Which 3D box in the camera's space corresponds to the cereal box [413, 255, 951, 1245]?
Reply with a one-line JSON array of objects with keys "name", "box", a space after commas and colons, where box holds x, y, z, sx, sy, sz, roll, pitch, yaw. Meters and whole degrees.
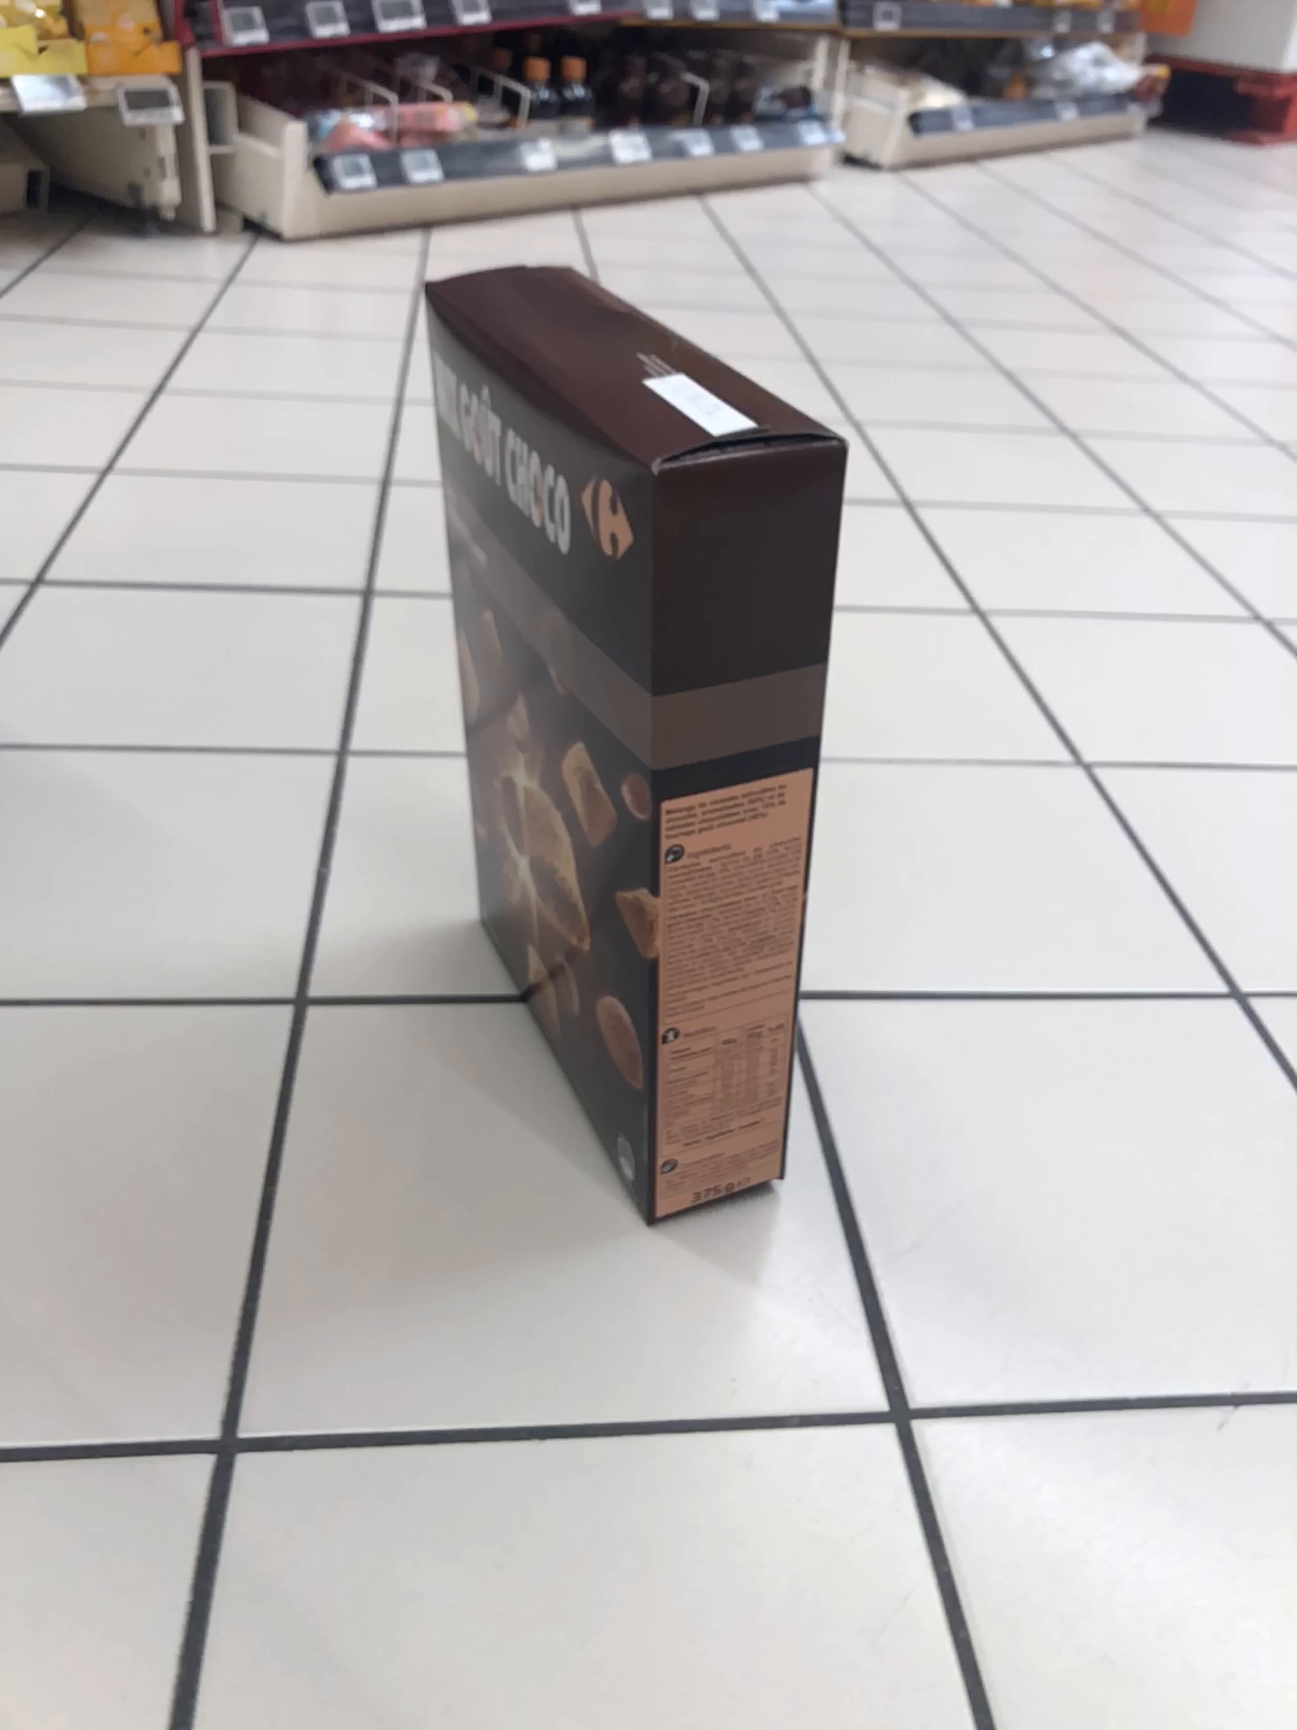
[{"name": "cereal box", "box": [-0.004, -0.044, 0.498, 0.080, 0.268, 0.201, -13, 37, -21]}]
